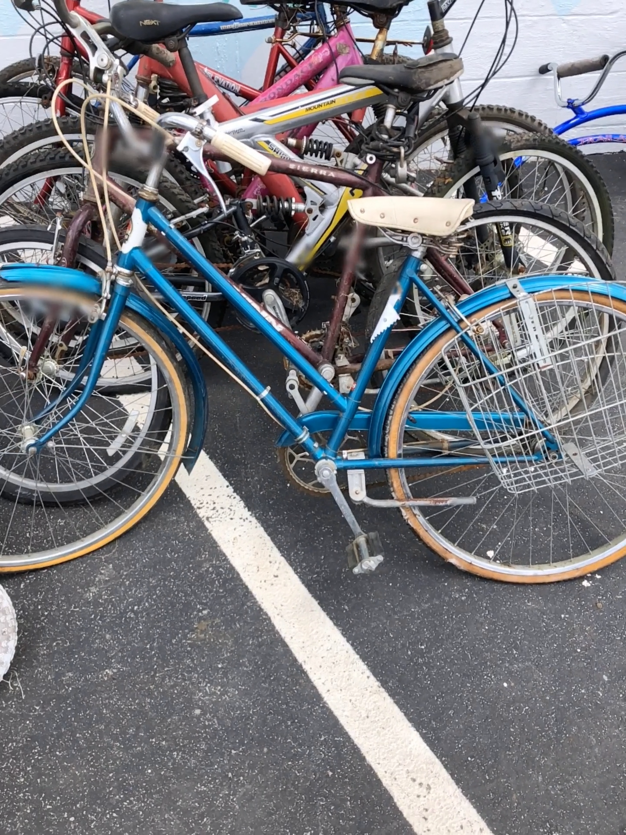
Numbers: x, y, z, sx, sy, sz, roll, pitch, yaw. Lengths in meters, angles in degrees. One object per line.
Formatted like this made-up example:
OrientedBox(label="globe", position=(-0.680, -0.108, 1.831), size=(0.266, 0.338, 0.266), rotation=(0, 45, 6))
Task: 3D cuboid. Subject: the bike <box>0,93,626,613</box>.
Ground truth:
OrientedBox(label="bike", position=(-0.037, -0.106, 1.248), size=(1.481, 0.760, 0.478), rotation=(-1, 40, -4))
